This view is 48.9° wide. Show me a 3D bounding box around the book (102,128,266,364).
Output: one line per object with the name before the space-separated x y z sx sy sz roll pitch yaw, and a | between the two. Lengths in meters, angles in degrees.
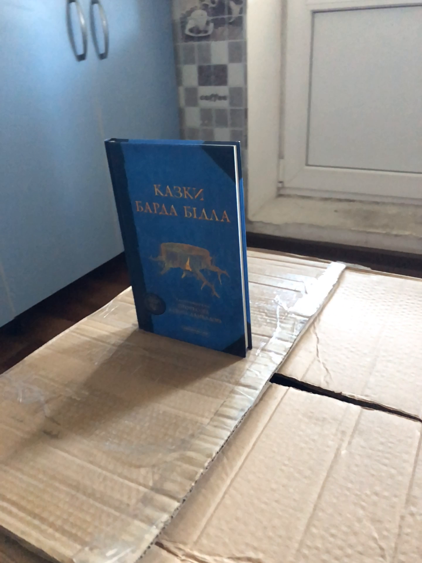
book | -0.022 -0.033 0.430 0.144 0.199 0.030 12 30 28
